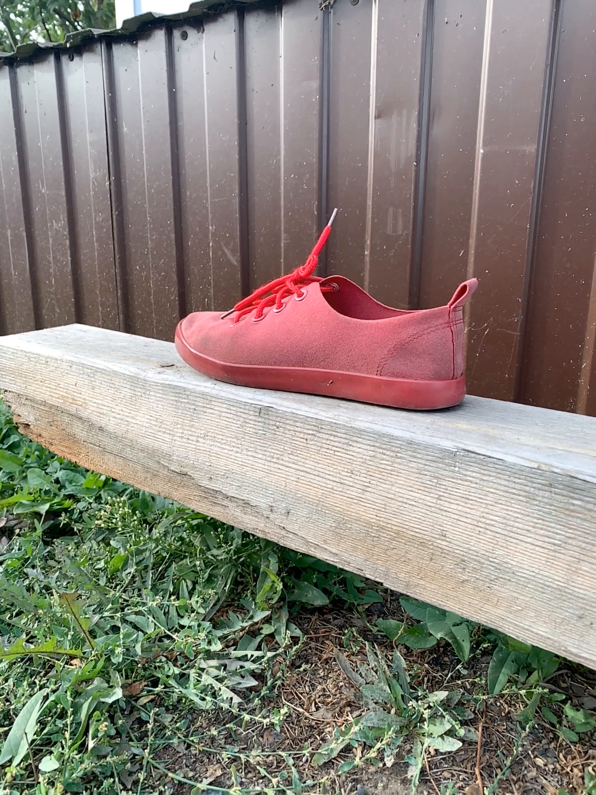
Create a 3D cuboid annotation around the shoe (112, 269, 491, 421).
[{"bbox_3d":[-0.004,-0.048,0.423,0.240,0.070,0.100,9,16,30],"label":"shoe"}]
